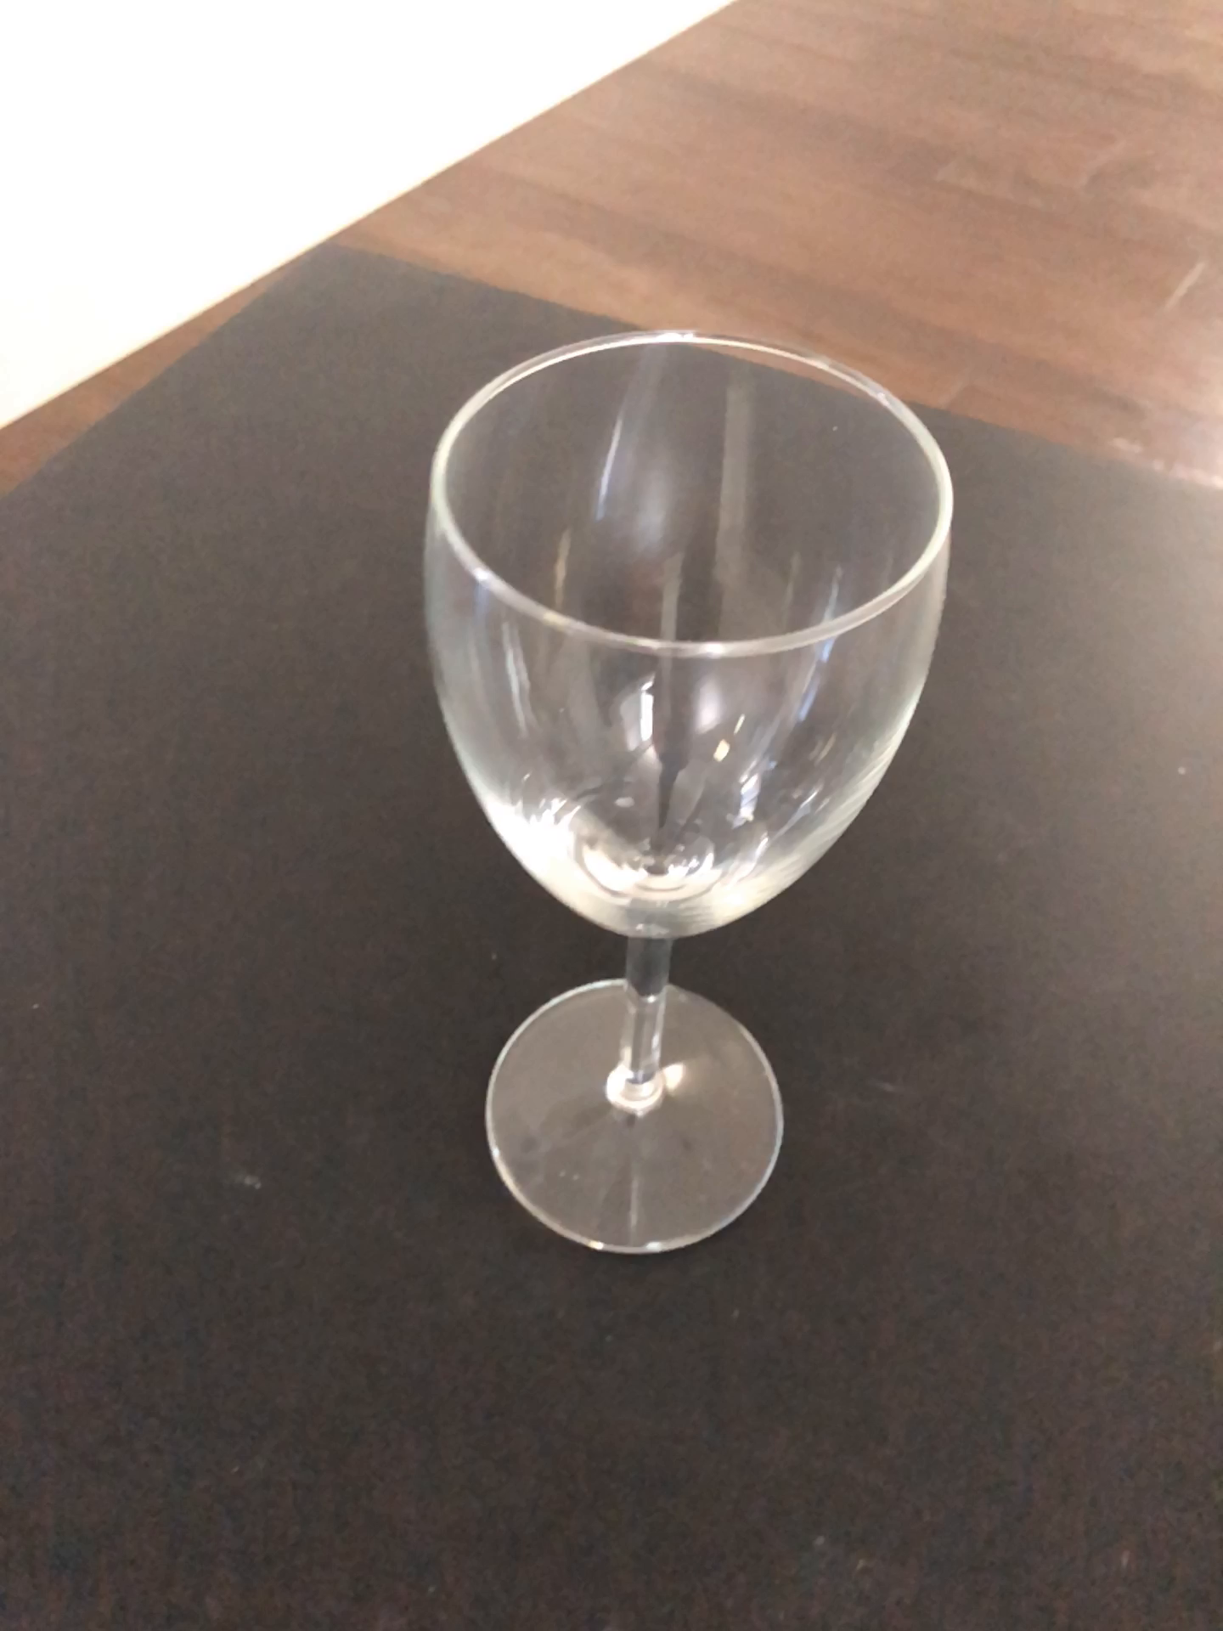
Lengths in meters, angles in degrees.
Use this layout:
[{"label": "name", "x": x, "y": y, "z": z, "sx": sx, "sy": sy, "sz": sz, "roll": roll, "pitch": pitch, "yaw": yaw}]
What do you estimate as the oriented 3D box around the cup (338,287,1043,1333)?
[{"label": "cup", "x": 0.013, "y": 0.013, "z": 0.252, "sx": 0.080, "sy": 0.179, "sz": 0.081, "roll": 1, "pitch": 49, "yaw": -1}]
